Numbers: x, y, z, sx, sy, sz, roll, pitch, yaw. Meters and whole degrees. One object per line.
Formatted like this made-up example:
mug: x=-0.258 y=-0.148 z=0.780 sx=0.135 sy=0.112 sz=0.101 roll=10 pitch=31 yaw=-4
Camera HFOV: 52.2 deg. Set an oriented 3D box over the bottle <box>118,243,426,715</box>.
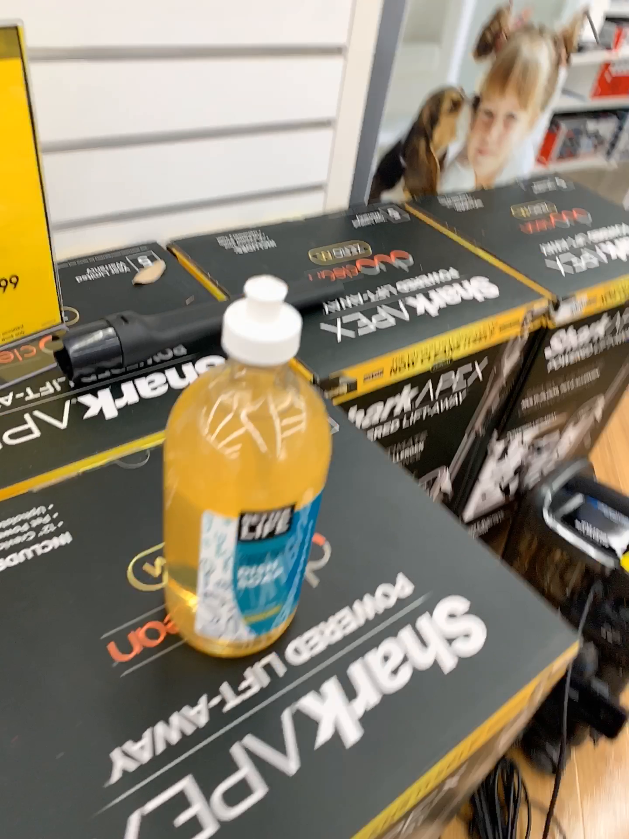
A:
bottle: x=-0.032 y=0.036 z=0.308 sx=0.090 sy=0.209 sz=0.090 roll=6 pitch=41 yaw=-5
